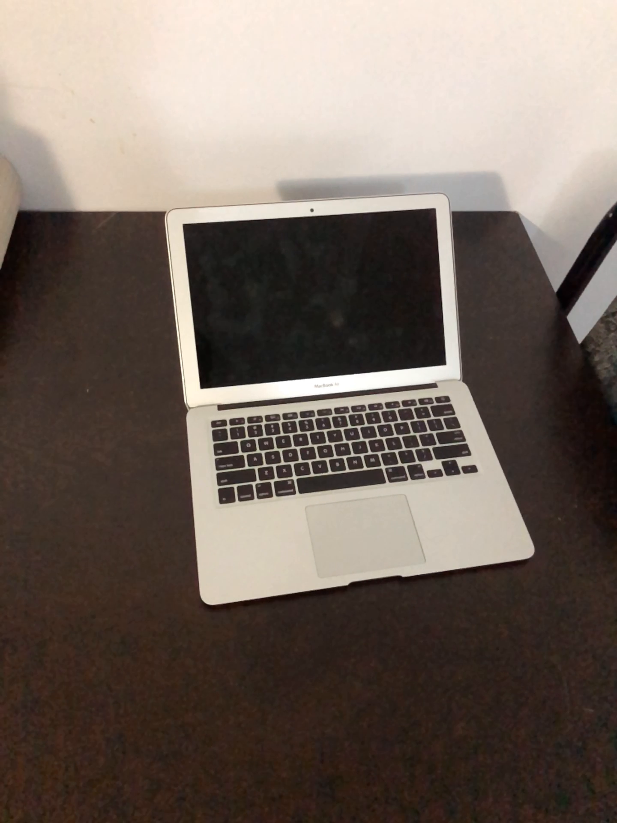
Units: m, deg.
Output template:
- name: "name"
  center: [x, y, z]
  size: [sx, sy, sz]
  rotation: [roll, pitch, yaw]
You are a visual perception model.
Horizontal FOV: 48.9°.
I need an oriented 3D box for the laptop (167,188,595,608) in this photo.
- name: "laptop"
  center: [0.033, -0.038, 0.647]
  size: [0.303, 0.136, 0.362]
  rotation: [-6, 52, -8]
